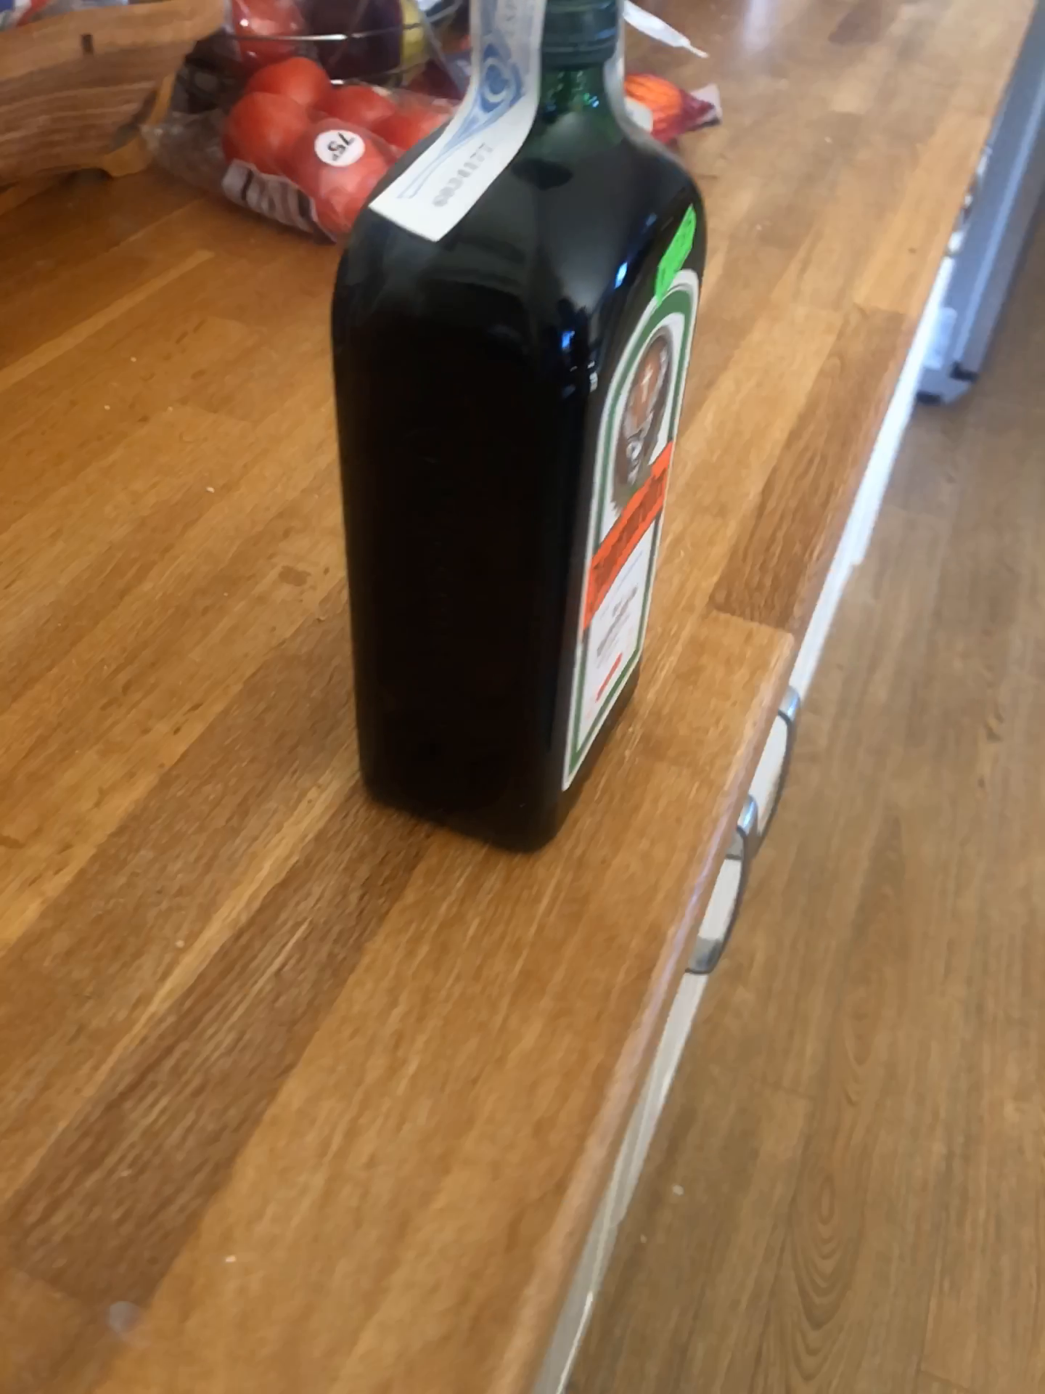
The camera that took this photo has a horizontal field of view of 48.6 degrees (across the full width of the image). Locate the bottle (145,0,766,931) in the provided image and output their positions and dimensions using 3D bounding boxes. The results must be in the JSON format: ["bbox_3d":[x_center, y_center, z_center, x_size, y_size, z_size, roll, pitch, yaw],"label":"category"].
[{"bbox_3d":[-0.012,-0.059,0.289,0.080,0.218,0.101,18,44,15],"label":"bottle"}]
